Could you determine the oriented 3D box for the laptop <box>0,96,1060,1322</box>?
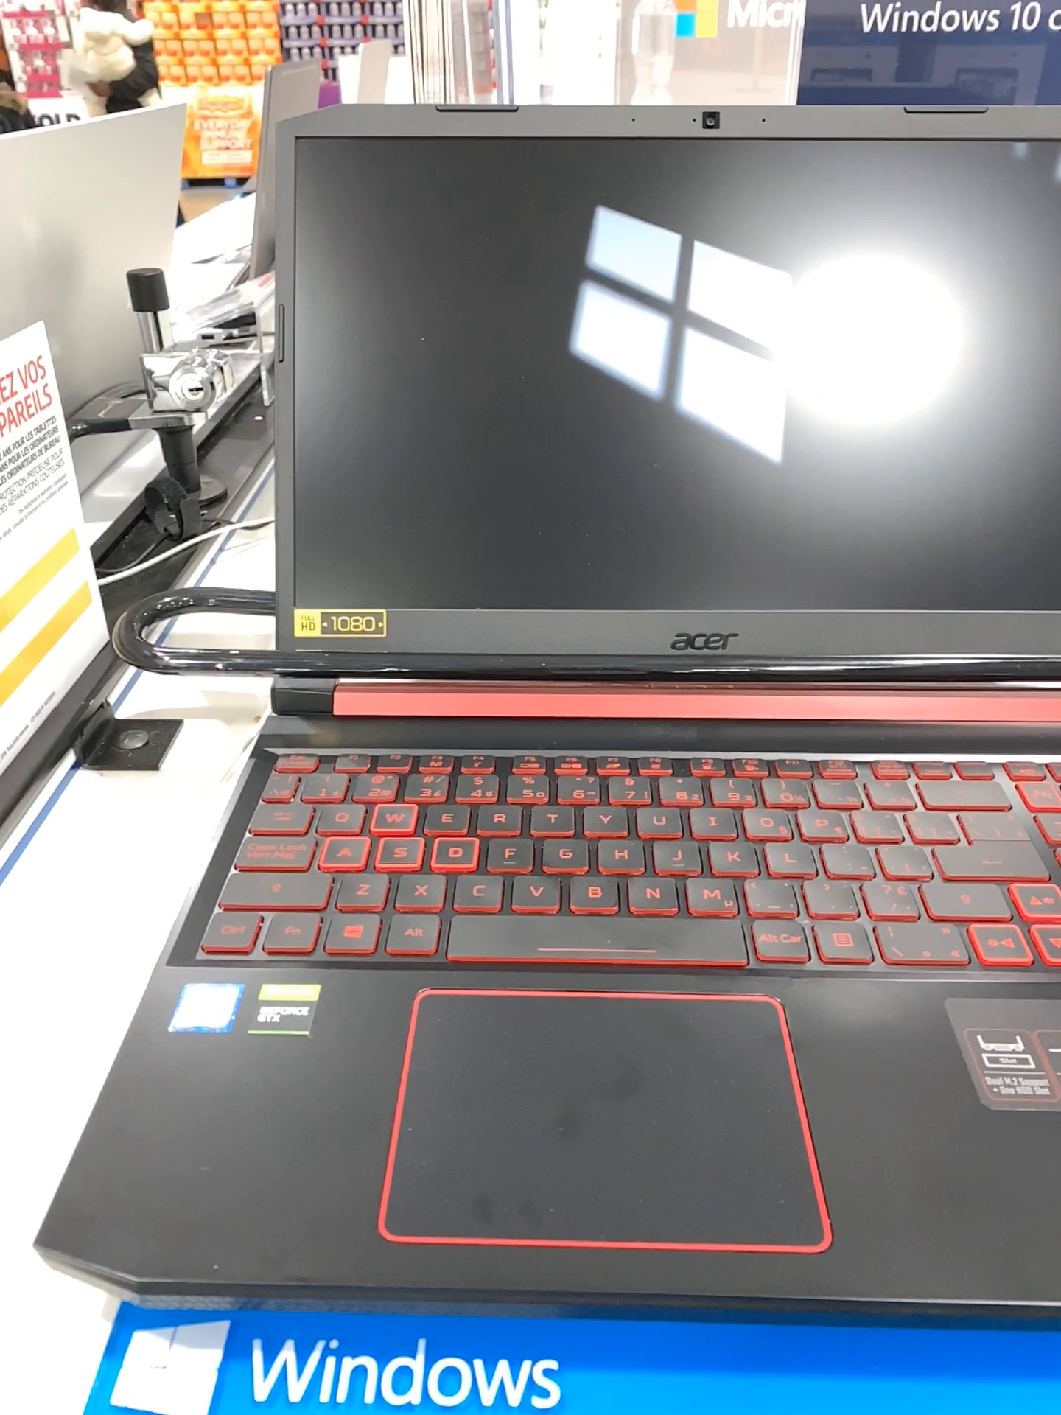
[{"bbox_3d":[0.064,-0.065,0.354,0.358,0.198,0.381,1,33,3],"label":"laptop"}]
